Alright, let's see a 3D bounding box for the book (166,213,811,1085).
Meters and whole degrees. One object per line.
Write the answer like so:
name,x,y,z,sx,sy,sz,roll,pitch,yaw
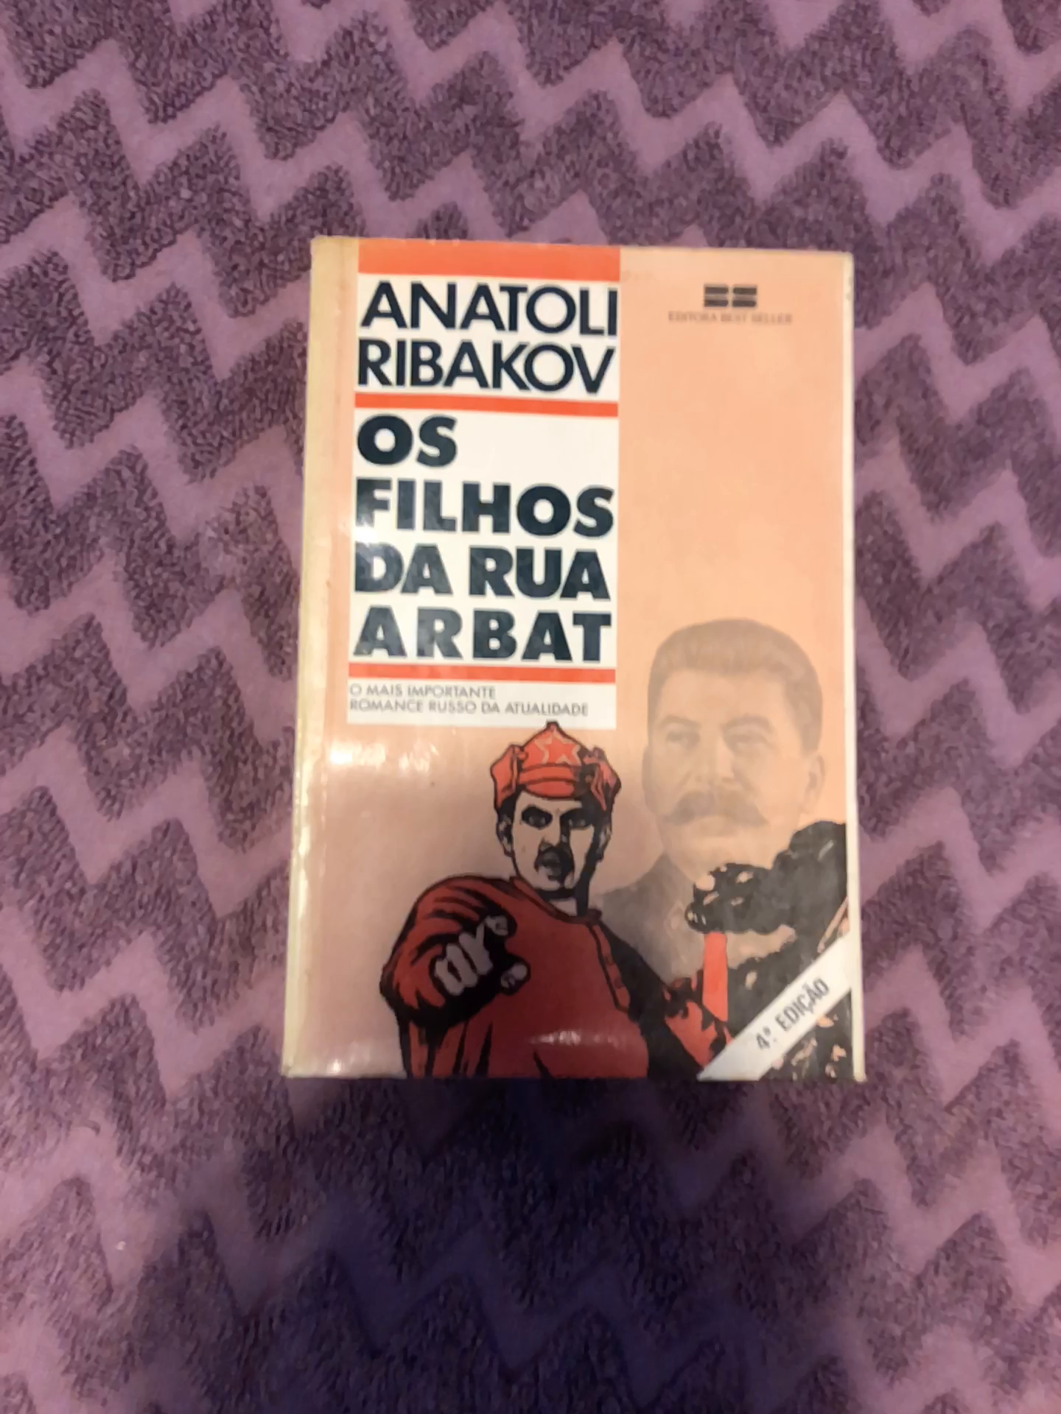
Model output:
book,-0.009,-0.013,0.282,0.140,0.040,0.190,0,87,-4
